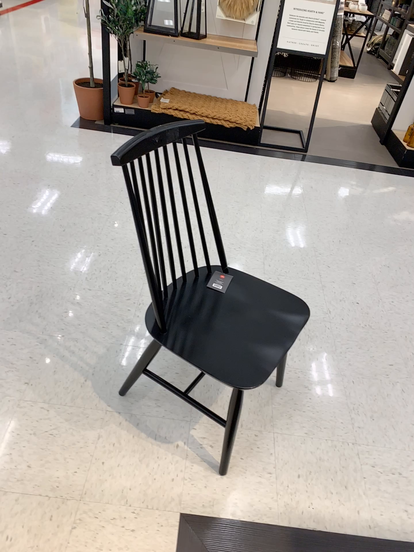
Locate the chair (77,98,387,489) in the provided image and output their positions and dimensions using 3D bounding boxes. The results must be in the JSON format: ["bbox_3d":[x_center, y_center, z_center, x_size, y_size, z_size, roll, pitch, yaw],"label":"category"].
[{"bbox_3d":[0.029,0.061,1.307,0.551,0.945,0.532,29,43,23],"label":"chair"}]
